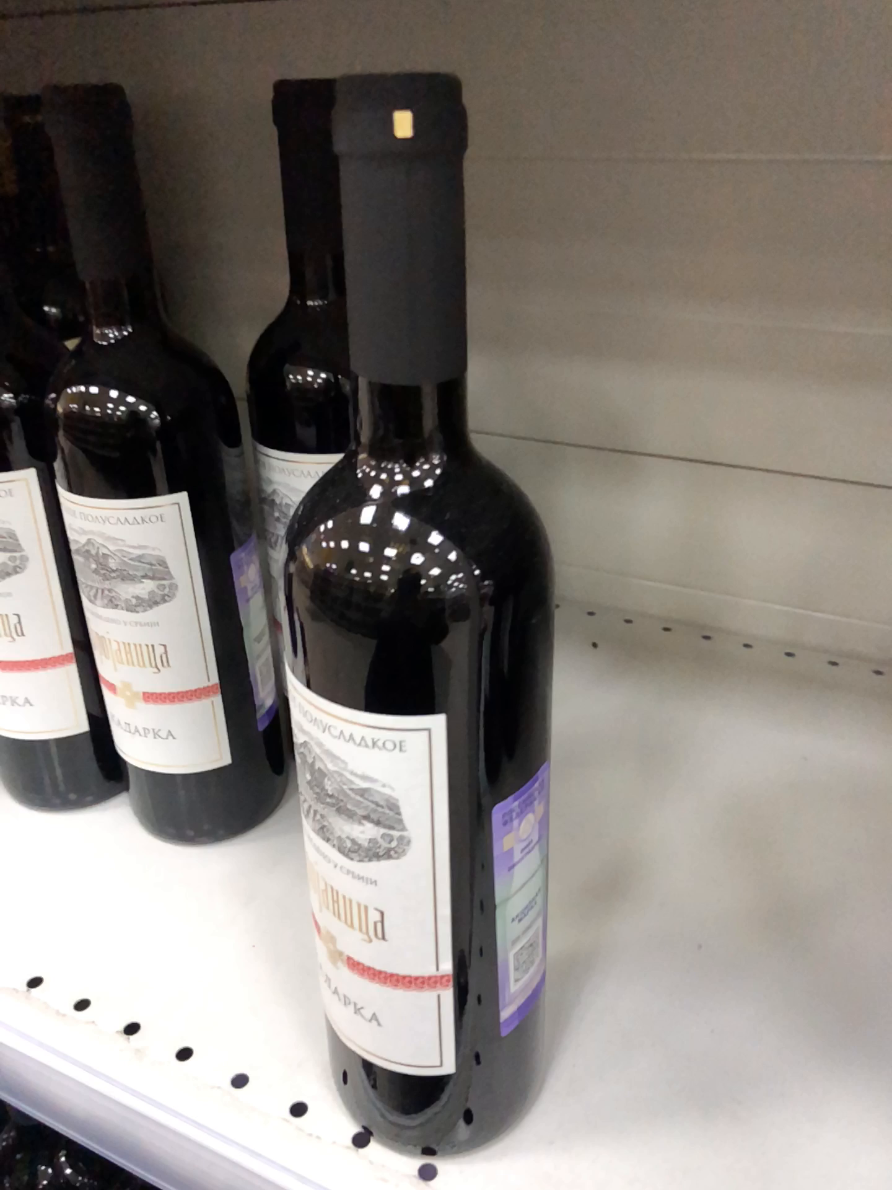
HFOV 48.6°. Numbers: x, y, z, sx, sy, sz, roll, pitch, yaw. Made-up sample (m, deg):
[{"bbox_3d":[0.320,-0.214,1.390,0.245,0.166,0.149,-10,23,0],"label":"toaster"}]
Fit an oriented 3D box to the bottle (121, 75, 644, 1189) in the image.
[{"bbox_3d":[-0.011,0.027,0.282,0.080,0.308,0.080,-1,27,1],"label":"bottle"}]
